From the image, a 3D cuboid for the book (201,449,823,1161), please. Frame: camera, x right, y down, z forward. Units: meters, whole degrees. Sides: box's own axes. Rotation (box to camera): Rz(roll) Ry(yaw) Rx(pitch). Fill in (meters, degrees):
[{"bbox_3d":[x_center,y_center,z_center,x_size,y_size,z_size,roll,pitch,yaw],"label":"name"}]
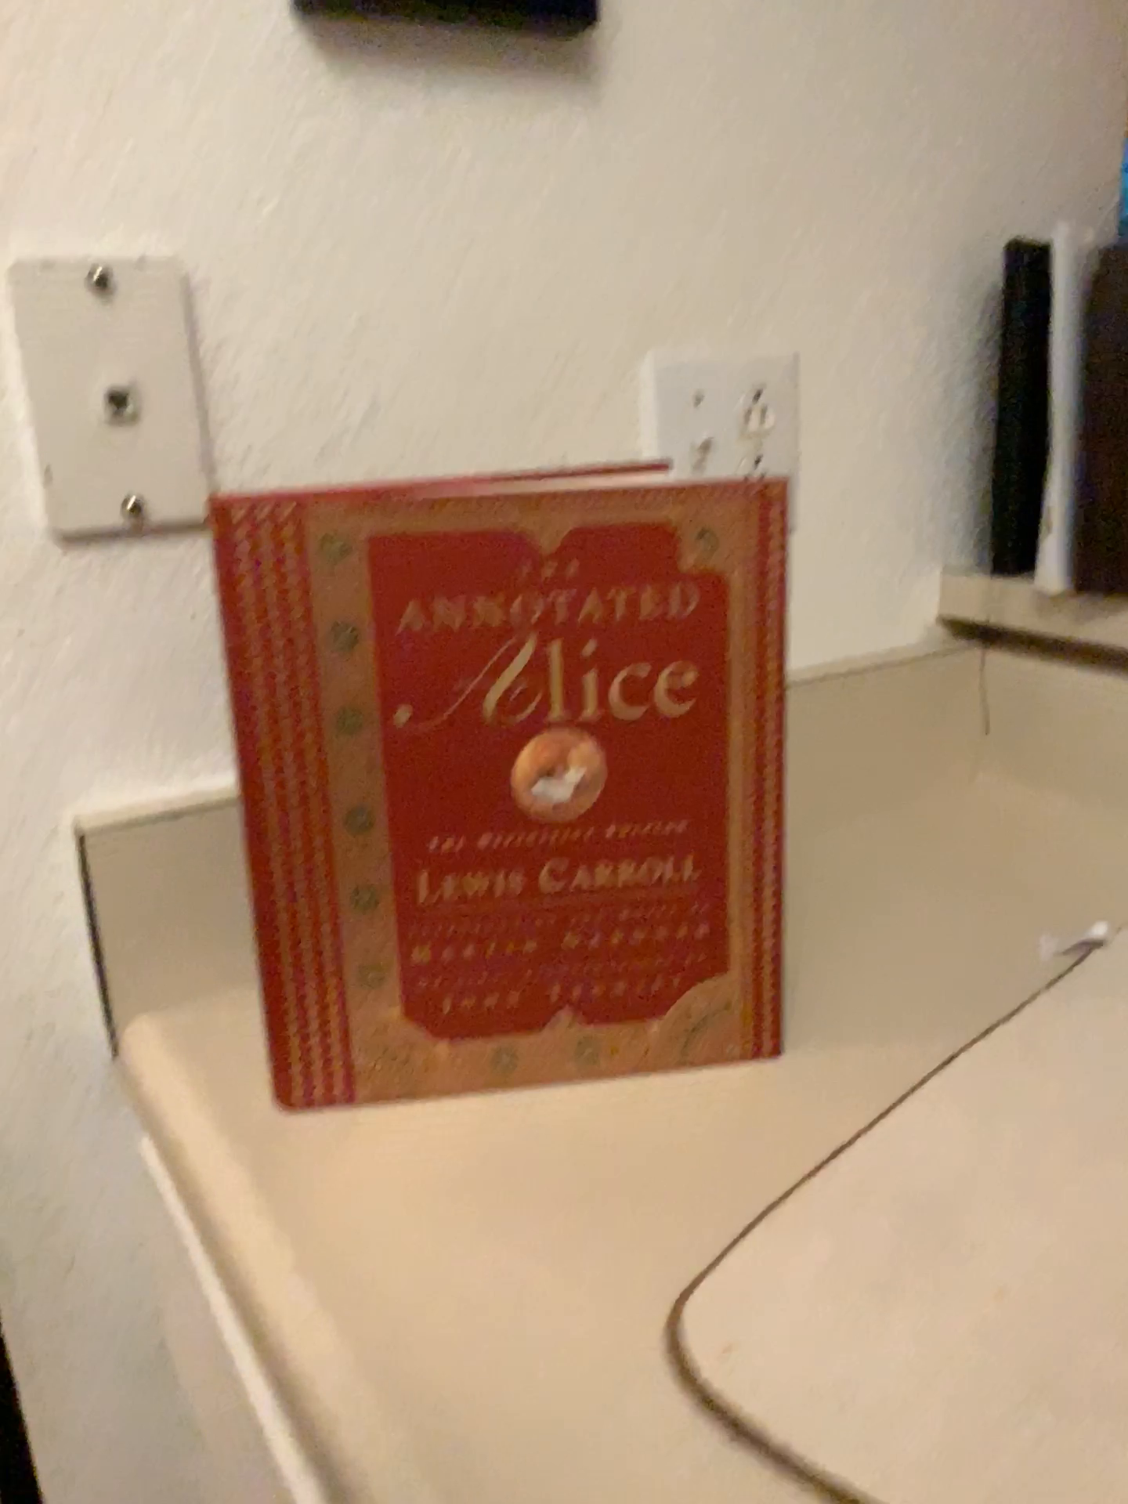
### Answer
[{"bbox_3d":[-0.024,0.008,0.562,0.230,0.260,0.150,-7,18,-12],"label":"book"}]
